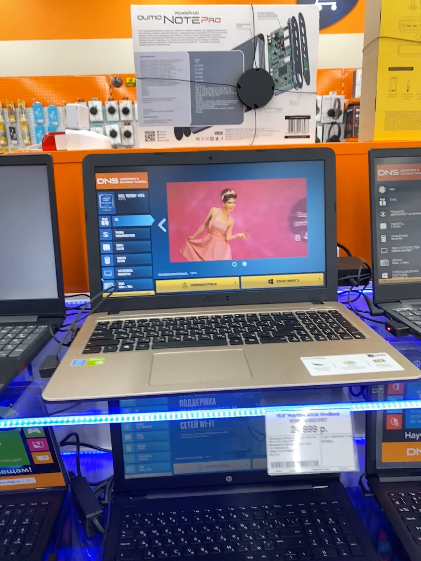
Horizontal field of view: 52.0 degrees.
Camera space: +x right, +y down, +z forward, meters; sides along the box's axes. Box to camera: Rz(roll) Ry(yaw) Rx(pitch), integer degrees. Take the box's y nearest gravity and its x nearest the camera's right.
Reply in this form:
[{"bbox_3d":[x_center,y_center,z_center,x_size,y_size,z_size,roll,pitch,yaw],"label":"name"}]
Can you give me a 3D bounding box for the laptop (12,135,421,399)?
[{"bbox_3d":[0.016,-0.044,0.536,0.376,0.230,0.294,-2,14,-3],"label":"laptop"}]
